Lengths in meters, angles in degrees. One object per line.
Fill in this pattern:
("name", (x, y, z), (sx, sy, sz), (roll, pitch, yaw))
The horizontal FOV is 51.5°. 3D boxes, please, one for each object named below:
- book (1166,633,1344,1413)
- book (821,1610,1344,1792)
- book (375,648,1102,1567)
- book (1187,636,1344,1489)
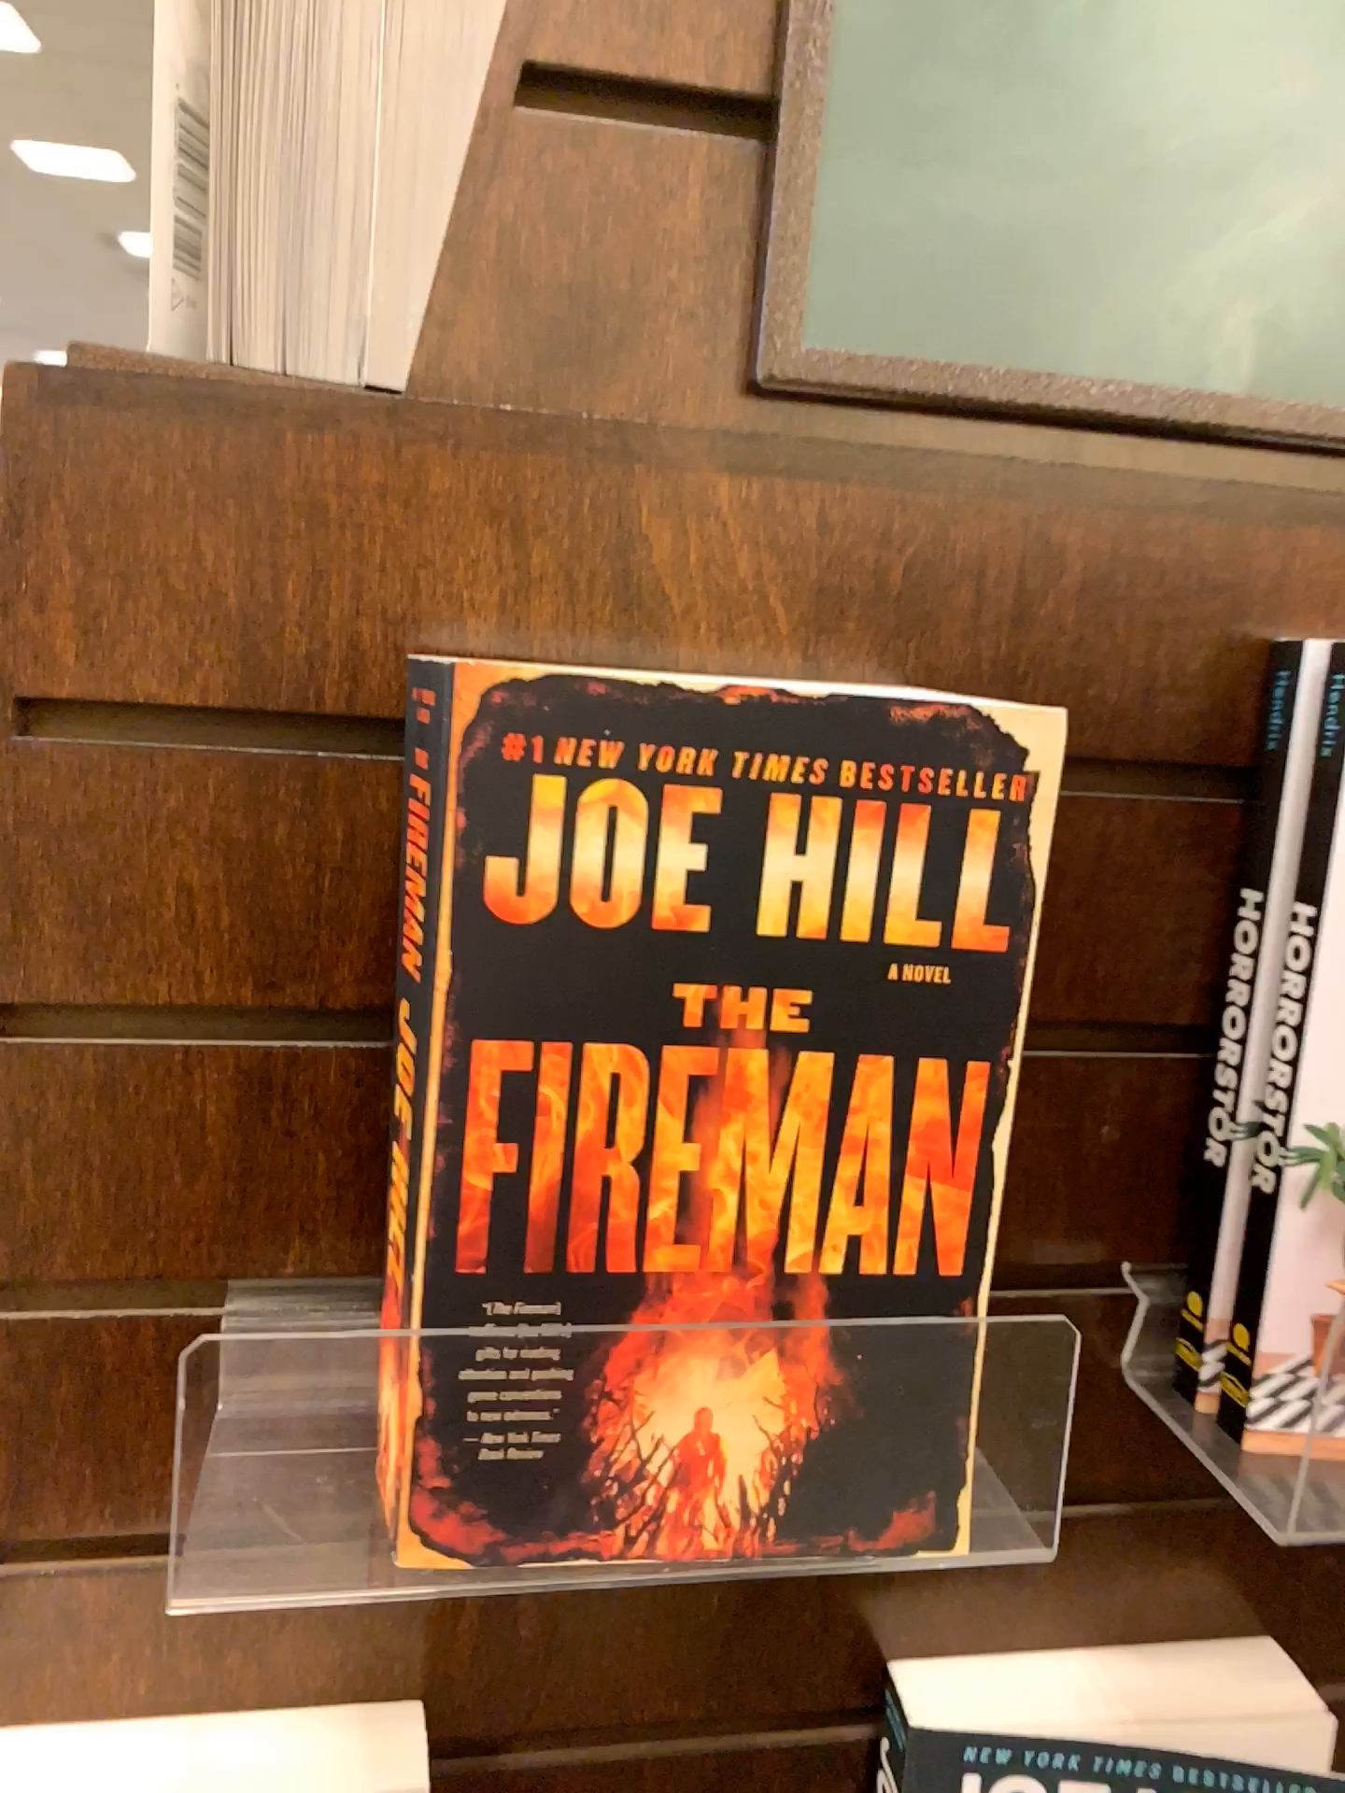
("book", (0.252, 0.038, 0.399), (0.188, 0.208, 0.026), (4, 8, -1))
("book", (0.142, 0.357, 0.469), (0.159, 0.202, 0.062), (4, 8, -1))
("book", (0.008, 0.044, 0.333), (0.146, 0.194, 0.069), (2, 8, -11))
("book", (0.245, 0.045, 0.365), (0.188, 0.208, 0.026), (4, 8, -1))
